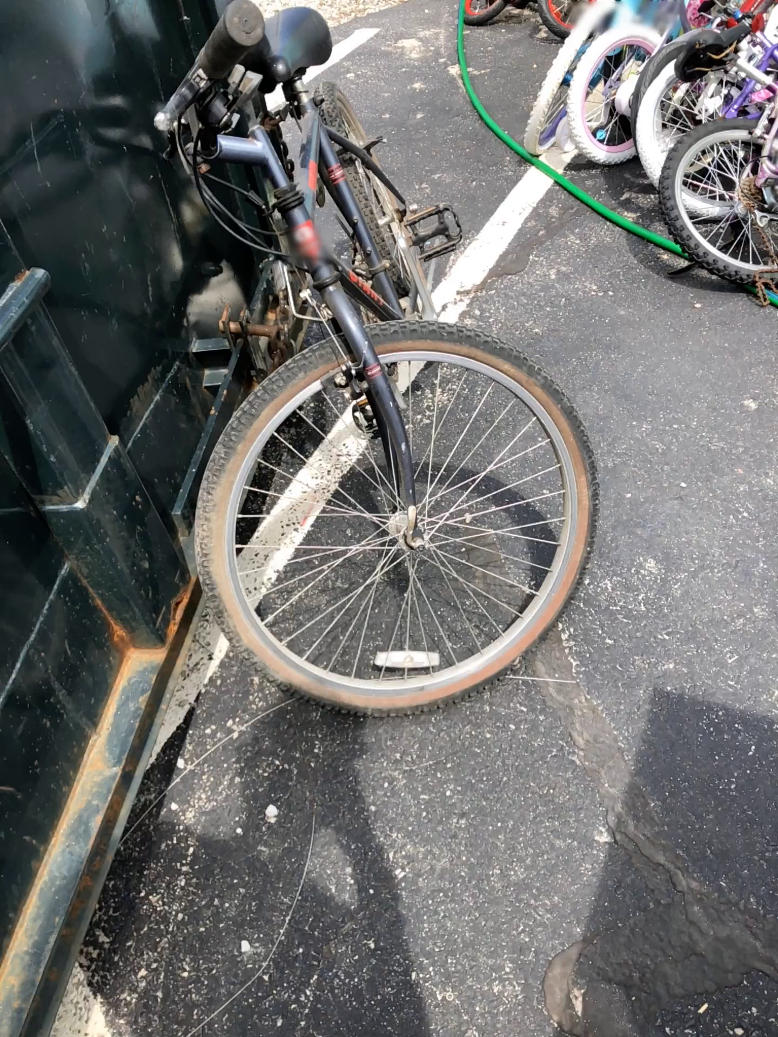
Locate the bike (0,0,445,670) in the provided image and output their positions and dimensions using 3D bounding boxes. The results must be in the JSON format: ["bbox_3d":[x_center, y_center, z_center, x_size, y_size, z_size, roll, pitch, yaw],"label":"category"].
[{"bbox_3d":[-0.376,-0.474,1.481,0.634,0.832,1.105,5,45,11],"label":"bike"}]
